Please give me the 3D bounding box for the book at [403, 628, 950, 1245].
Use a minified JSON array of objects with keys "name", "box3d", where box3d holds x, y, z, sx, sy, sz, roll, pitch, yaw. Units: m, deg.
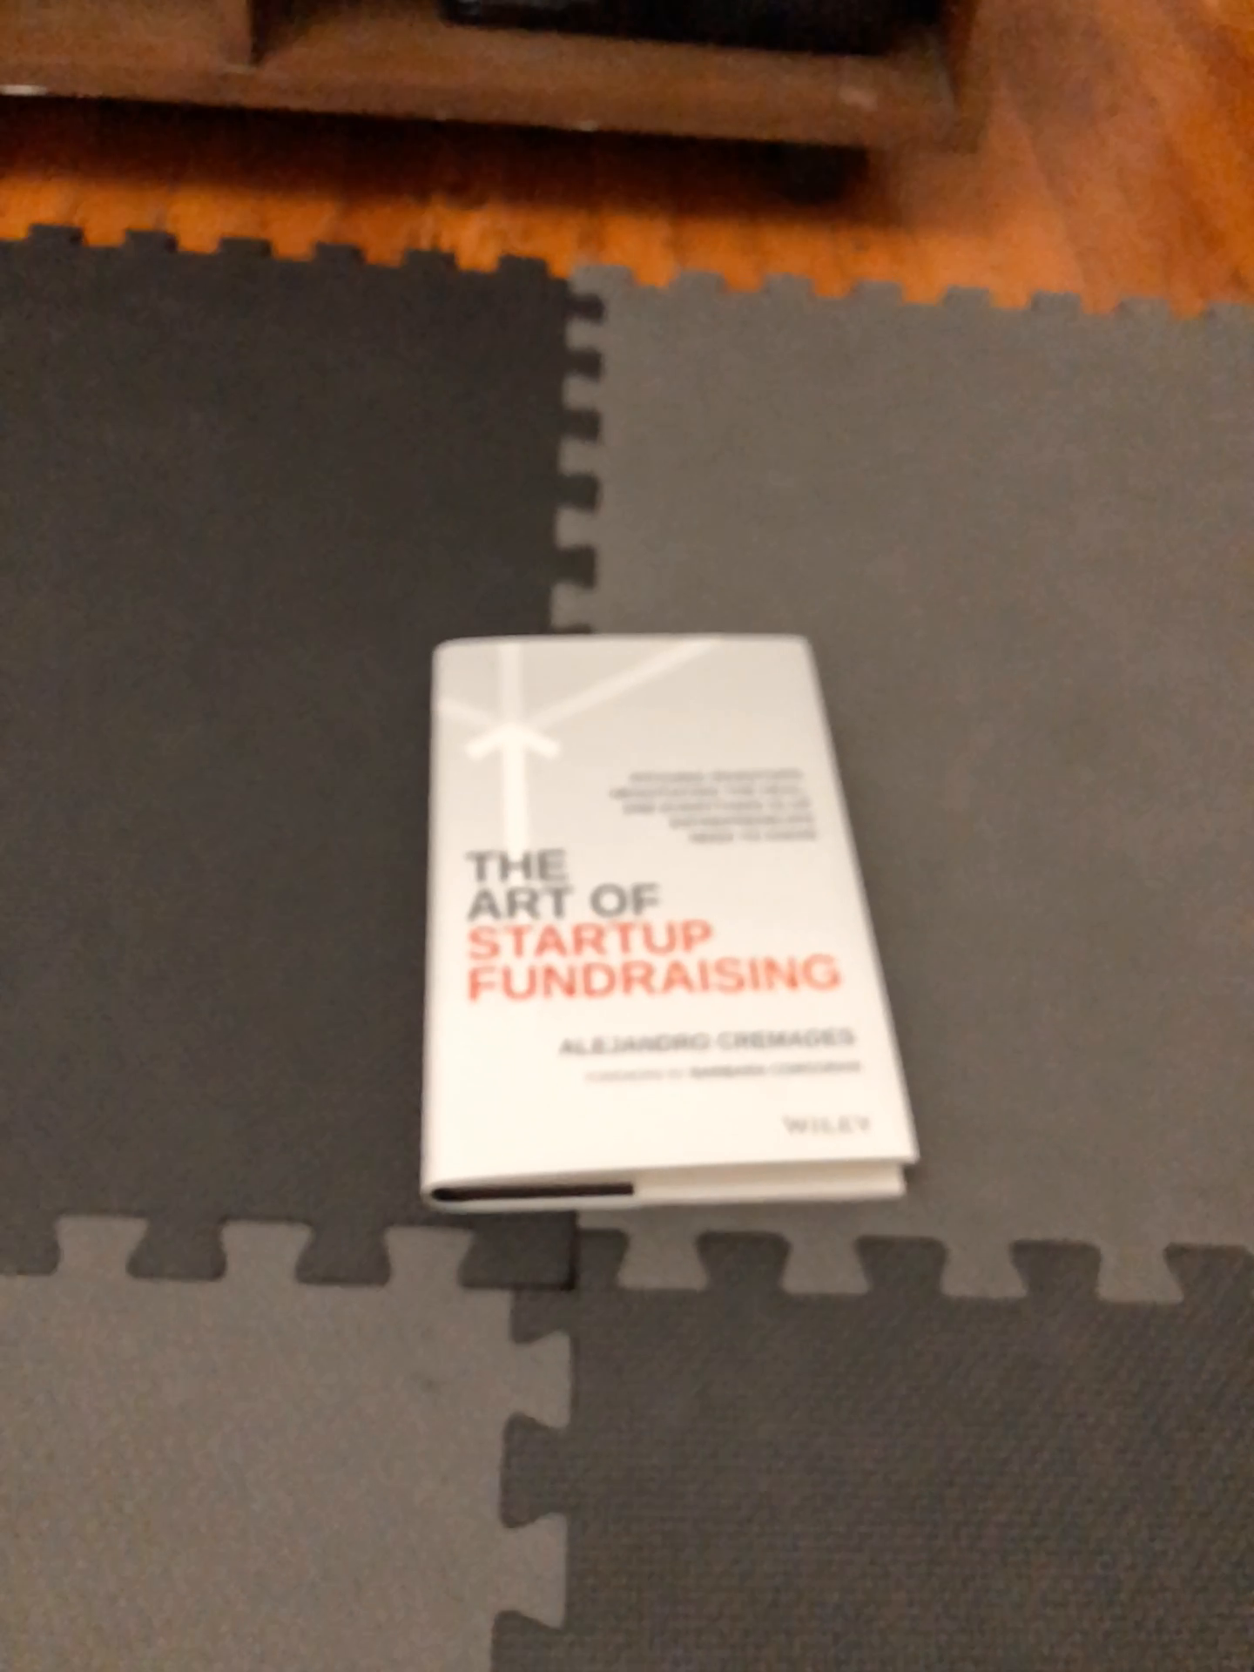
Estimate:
[{"name":"book","box3d":[0.009,0.022,0.525,0.170,0.030,0.251,0,52,-4]}]
